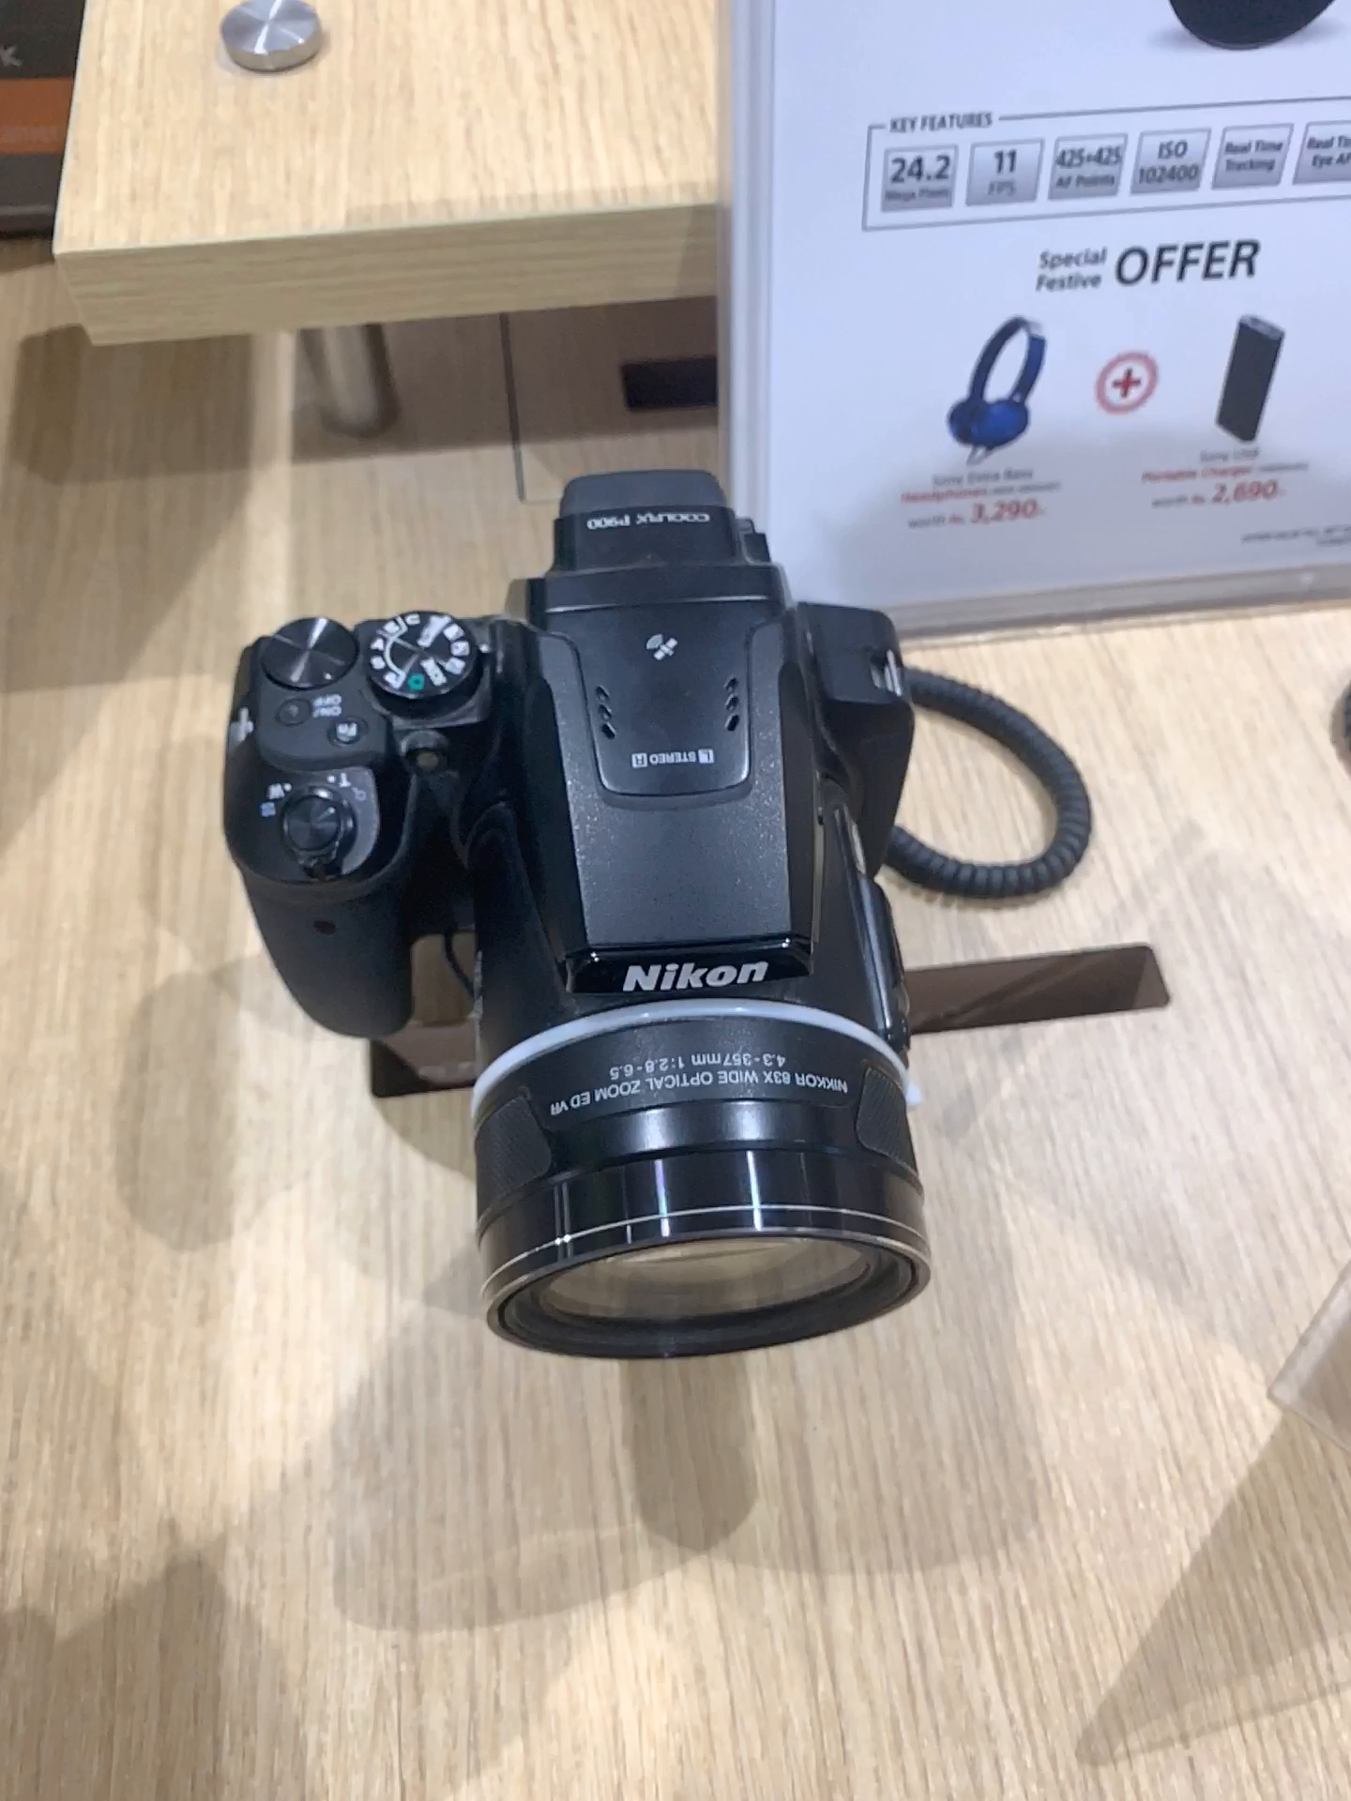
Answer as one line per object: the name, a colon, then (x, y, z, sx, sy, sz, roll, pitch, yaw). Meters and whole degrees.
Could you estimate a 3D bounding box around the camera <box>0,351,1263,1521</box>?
camera: (-0.014, 0.004, 0.226, 0.140, 0.090, 0.150, -6, 60, -4)
